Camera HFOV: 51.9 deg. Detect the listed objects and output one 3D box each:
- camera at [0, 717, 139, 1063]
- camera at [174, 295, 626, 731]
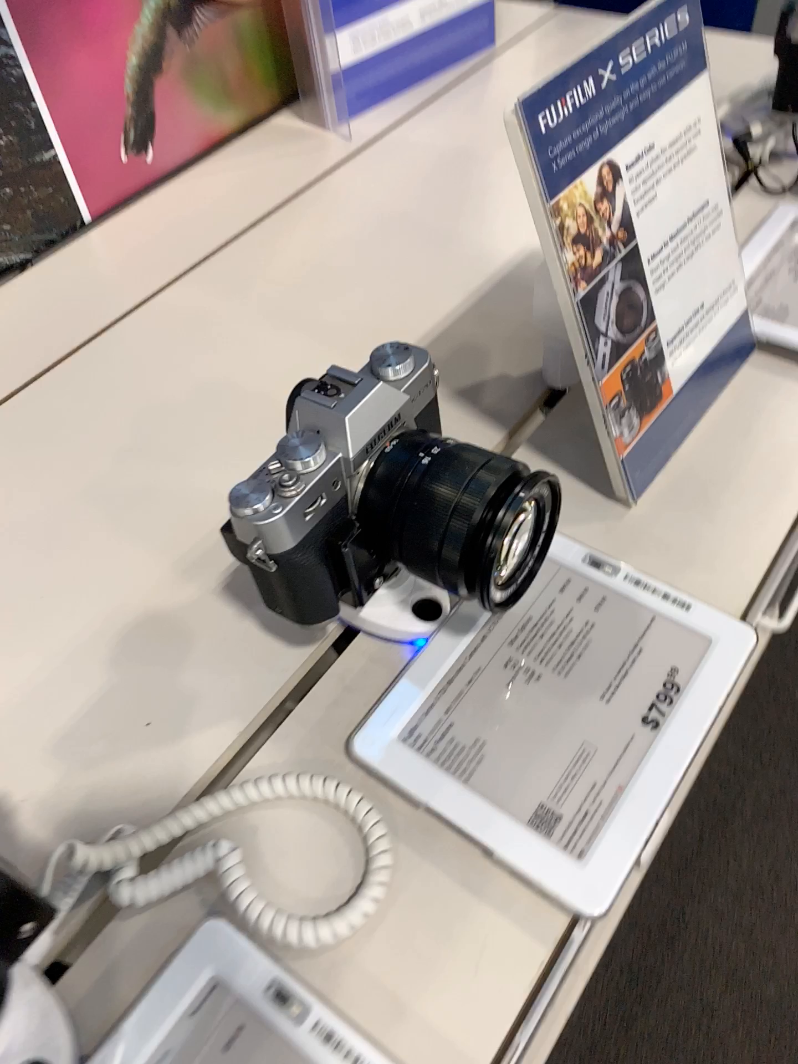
[{"bbox_3d":[-0.156,0.135,0.237,0.070,0.080,0.120,27,58,25],"label":"camera"},{"bbox_3d":[0.005,-0.014,0.333,0.120,0.080,0.120,26,58,25],"label":"camera"}]
